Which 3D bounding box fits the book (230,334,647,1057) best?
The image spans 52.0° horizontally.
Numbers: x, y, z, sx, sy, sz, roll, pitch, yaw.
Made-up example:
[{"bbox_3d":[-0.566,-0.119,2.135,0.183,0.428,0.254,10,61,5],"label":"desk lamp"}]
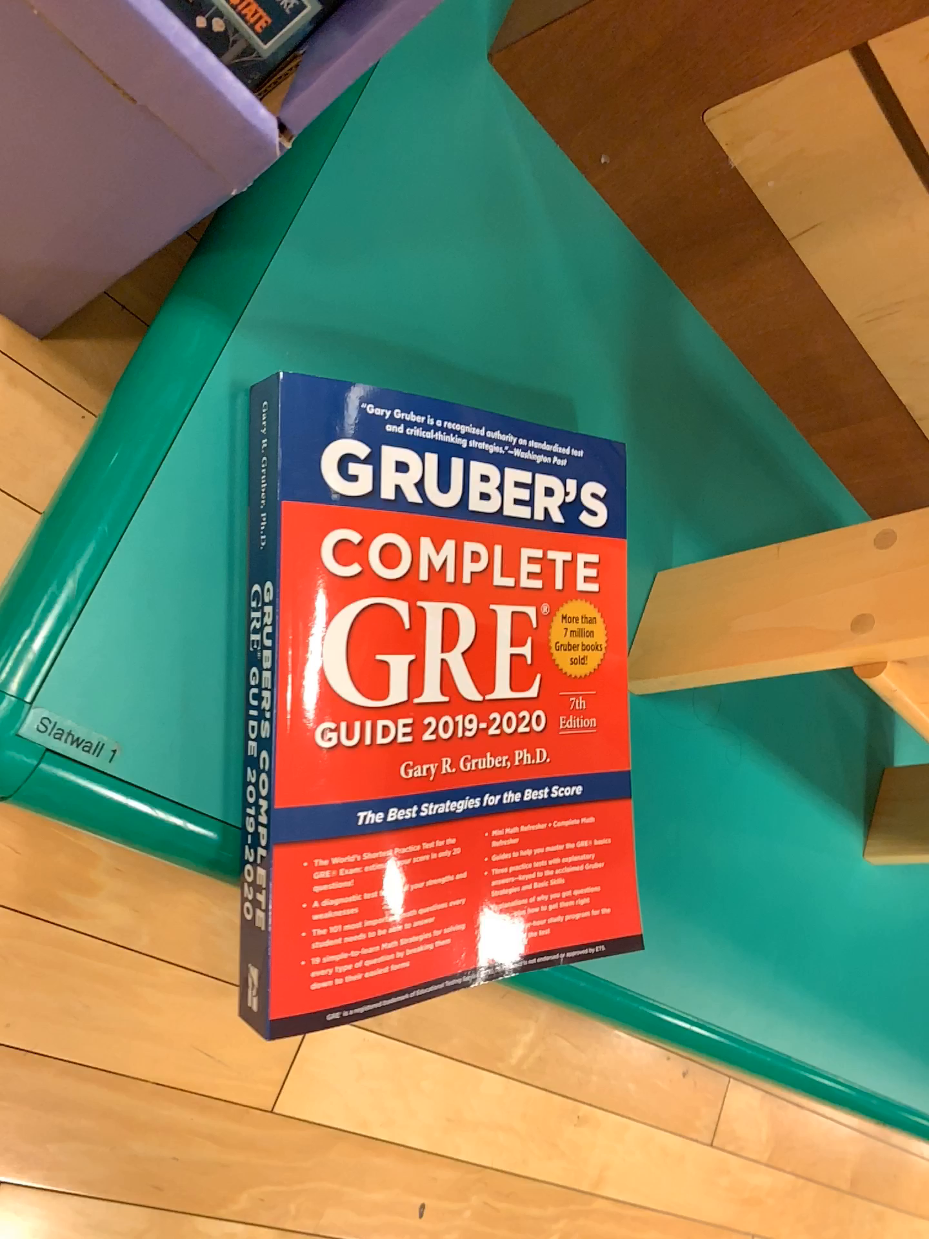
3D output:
[{"bbox_3d":[0.000,0.033,0.469,0.221,0.040,0.290,2,89,-40],"label":"book"}]
